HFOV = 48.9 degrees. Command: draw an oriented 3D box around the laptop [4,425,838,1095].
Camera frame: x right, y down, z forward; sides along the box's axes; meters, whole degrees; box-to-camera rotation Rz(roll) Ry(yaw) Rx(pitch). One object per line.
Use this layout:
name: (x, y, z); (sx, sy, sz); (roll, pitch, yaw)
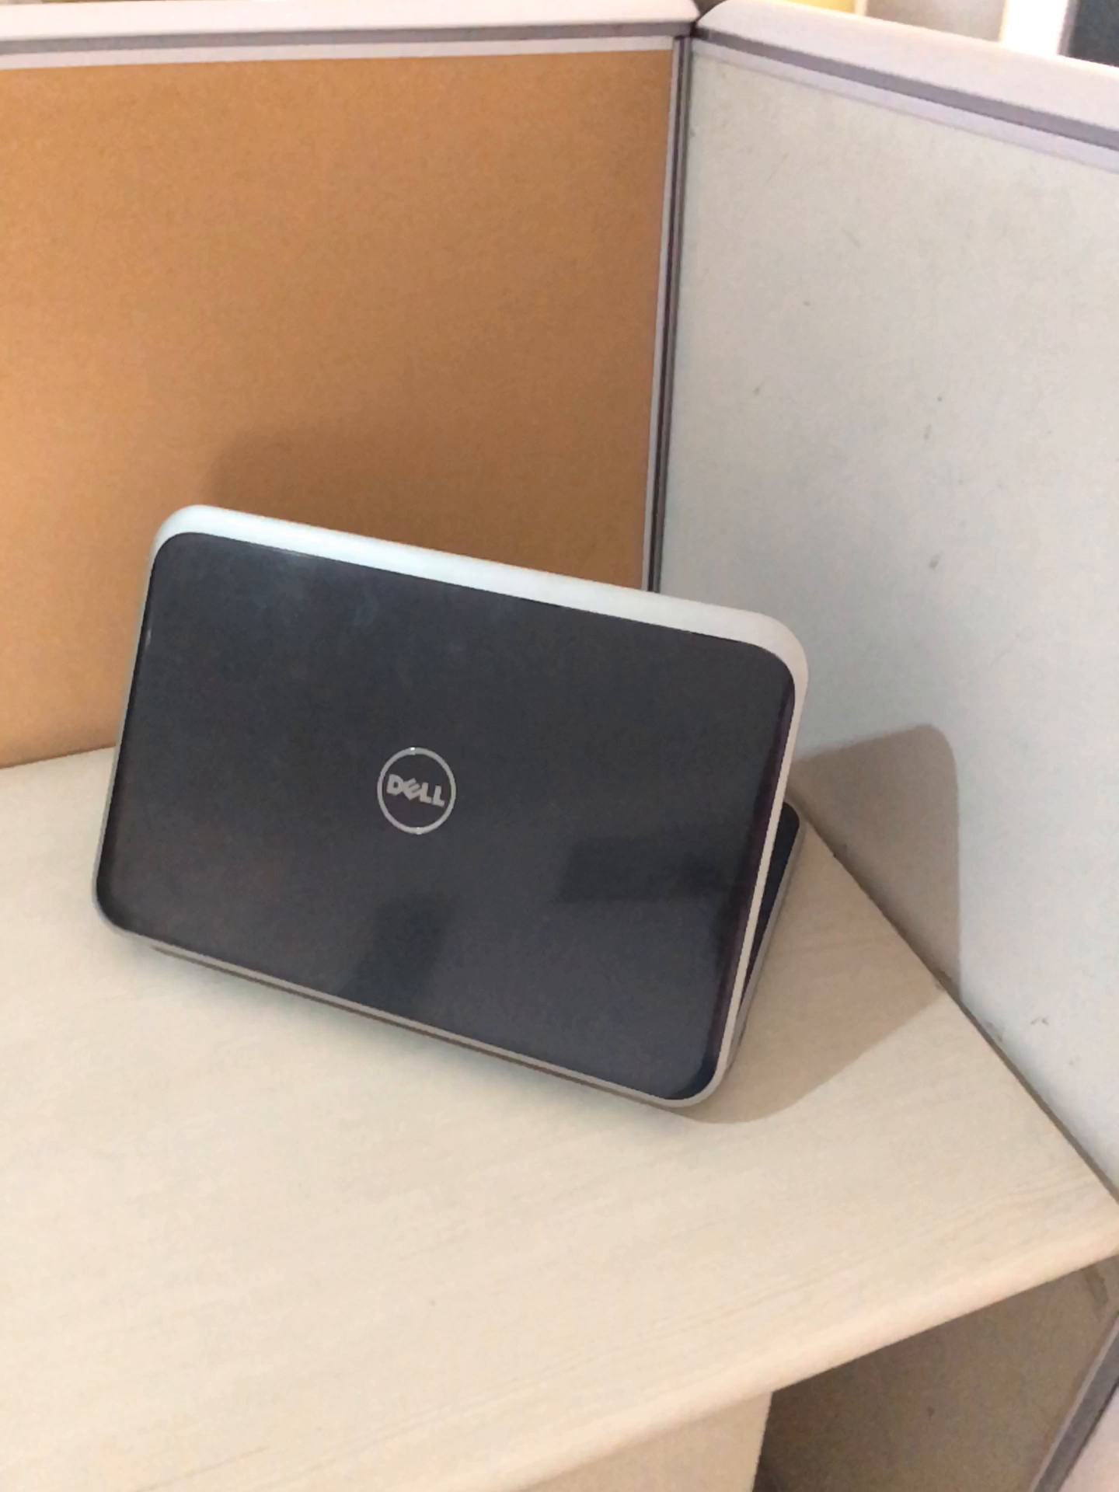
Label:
laptop: (-0.057, -0.014, 0.686); (0.348, 0.192, 0.241); (14, 39, 16)
